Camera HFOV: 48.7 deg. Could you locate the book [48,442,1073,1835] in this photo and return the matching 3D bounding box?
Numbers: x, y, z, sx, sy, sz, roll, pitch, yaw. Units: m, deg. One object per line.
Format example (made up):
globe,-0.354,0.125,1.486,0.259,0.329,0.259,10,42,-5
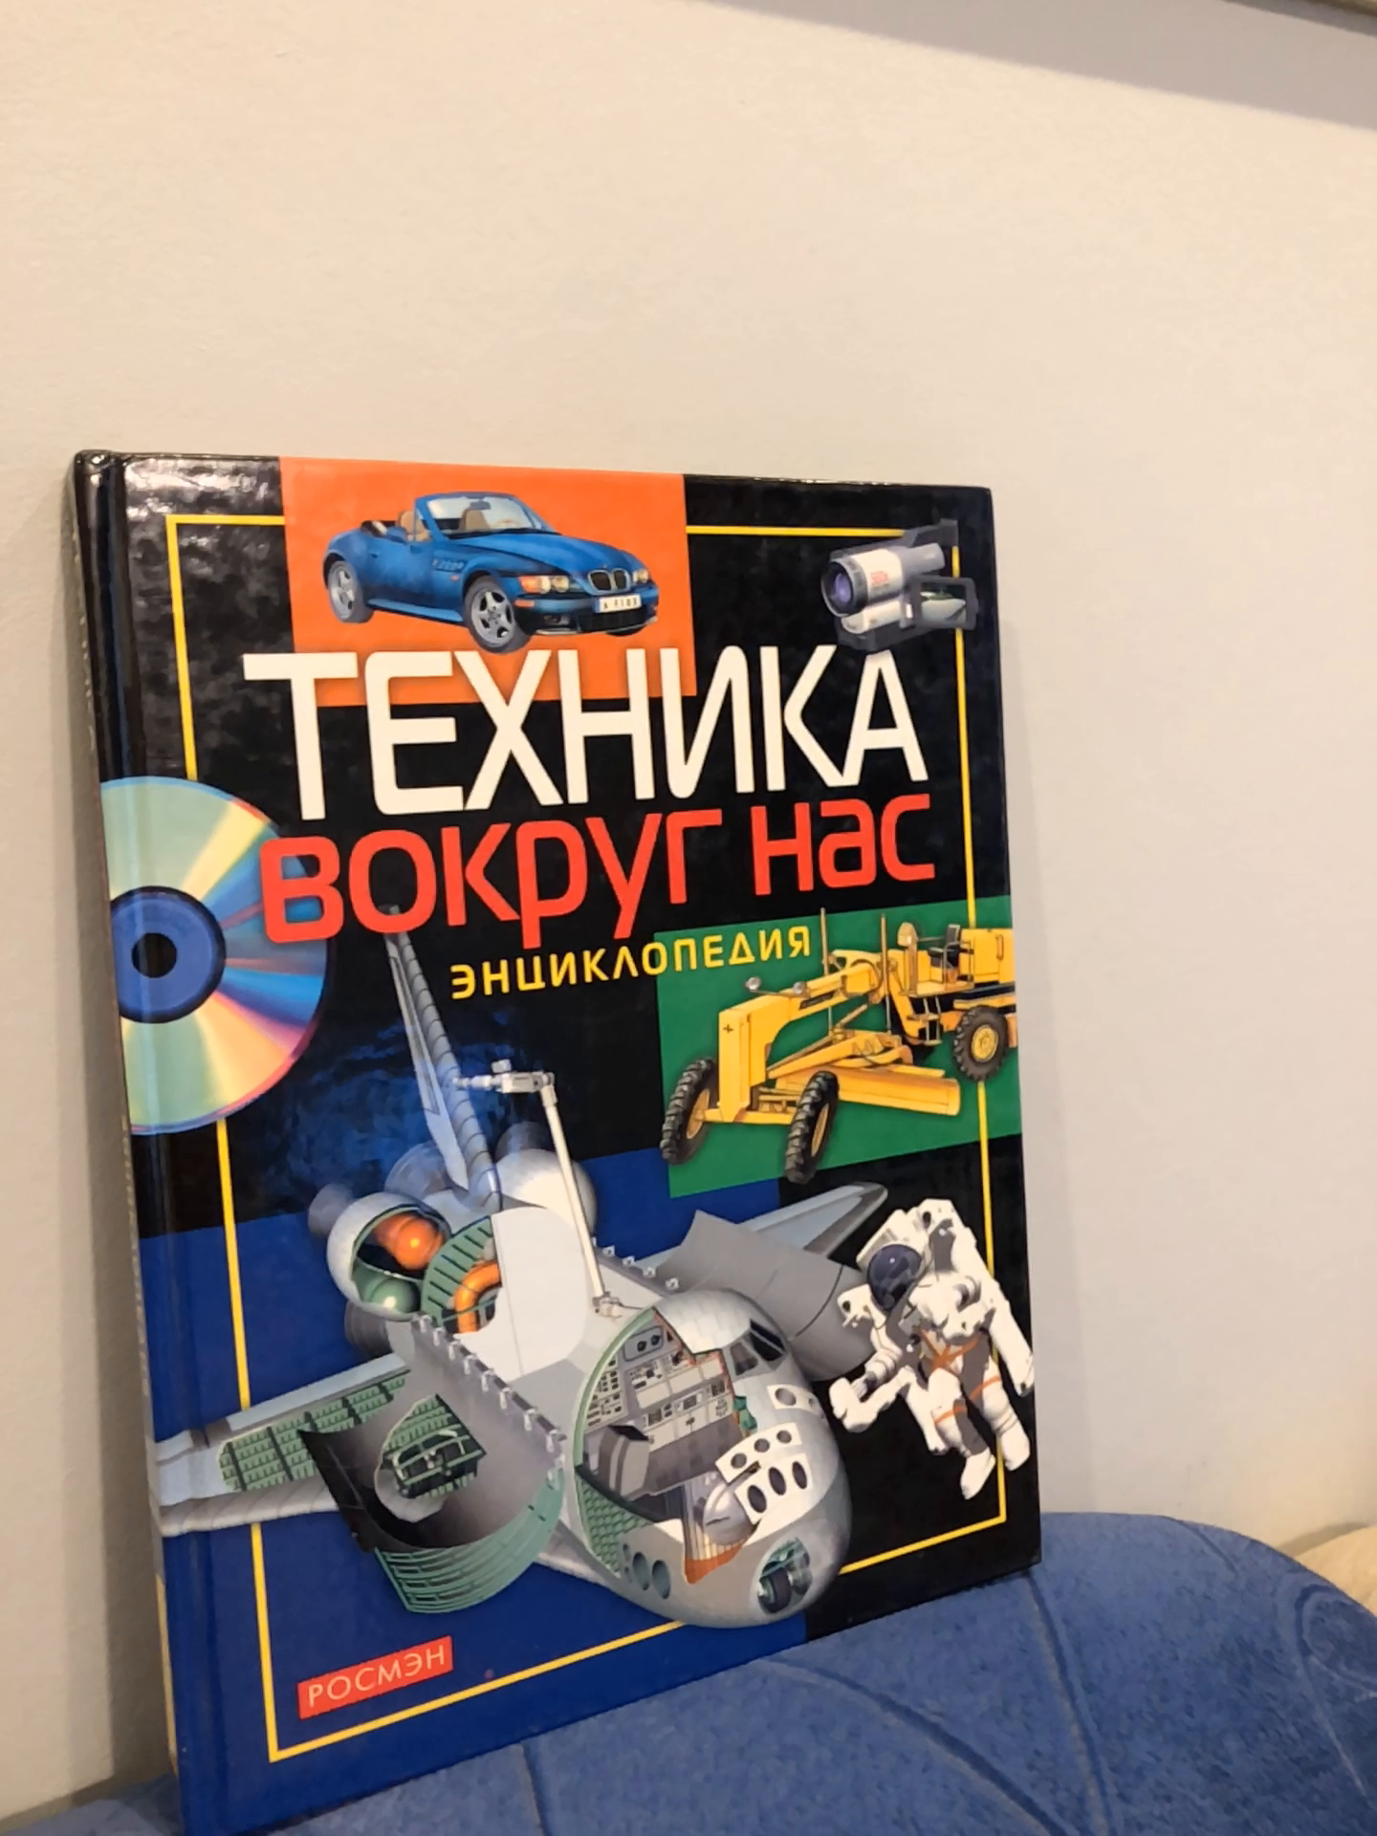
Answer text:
book,-0.015,0.040,0.351,0.220,0.280,0.030,-6,5,-25
